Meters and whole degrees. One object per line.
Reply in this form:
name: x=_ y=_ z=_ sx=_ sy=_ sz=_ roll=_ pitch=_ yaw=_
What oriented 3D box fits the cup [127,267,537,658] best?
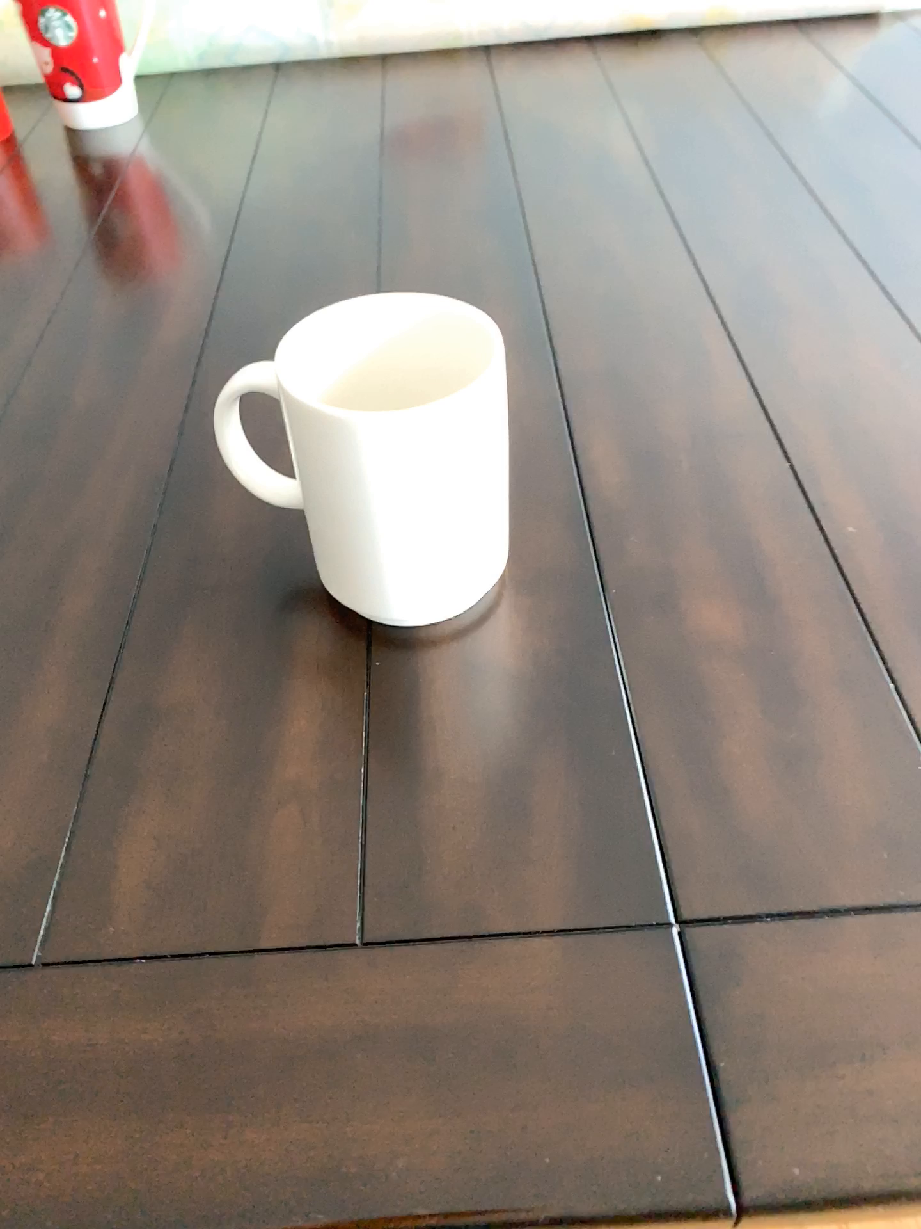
cup: x=-0.044 y=-0.064 z=0.391 sx=0.130 sy=0.110 sz=0.080 roll=15 pitch=48 yaw=18
